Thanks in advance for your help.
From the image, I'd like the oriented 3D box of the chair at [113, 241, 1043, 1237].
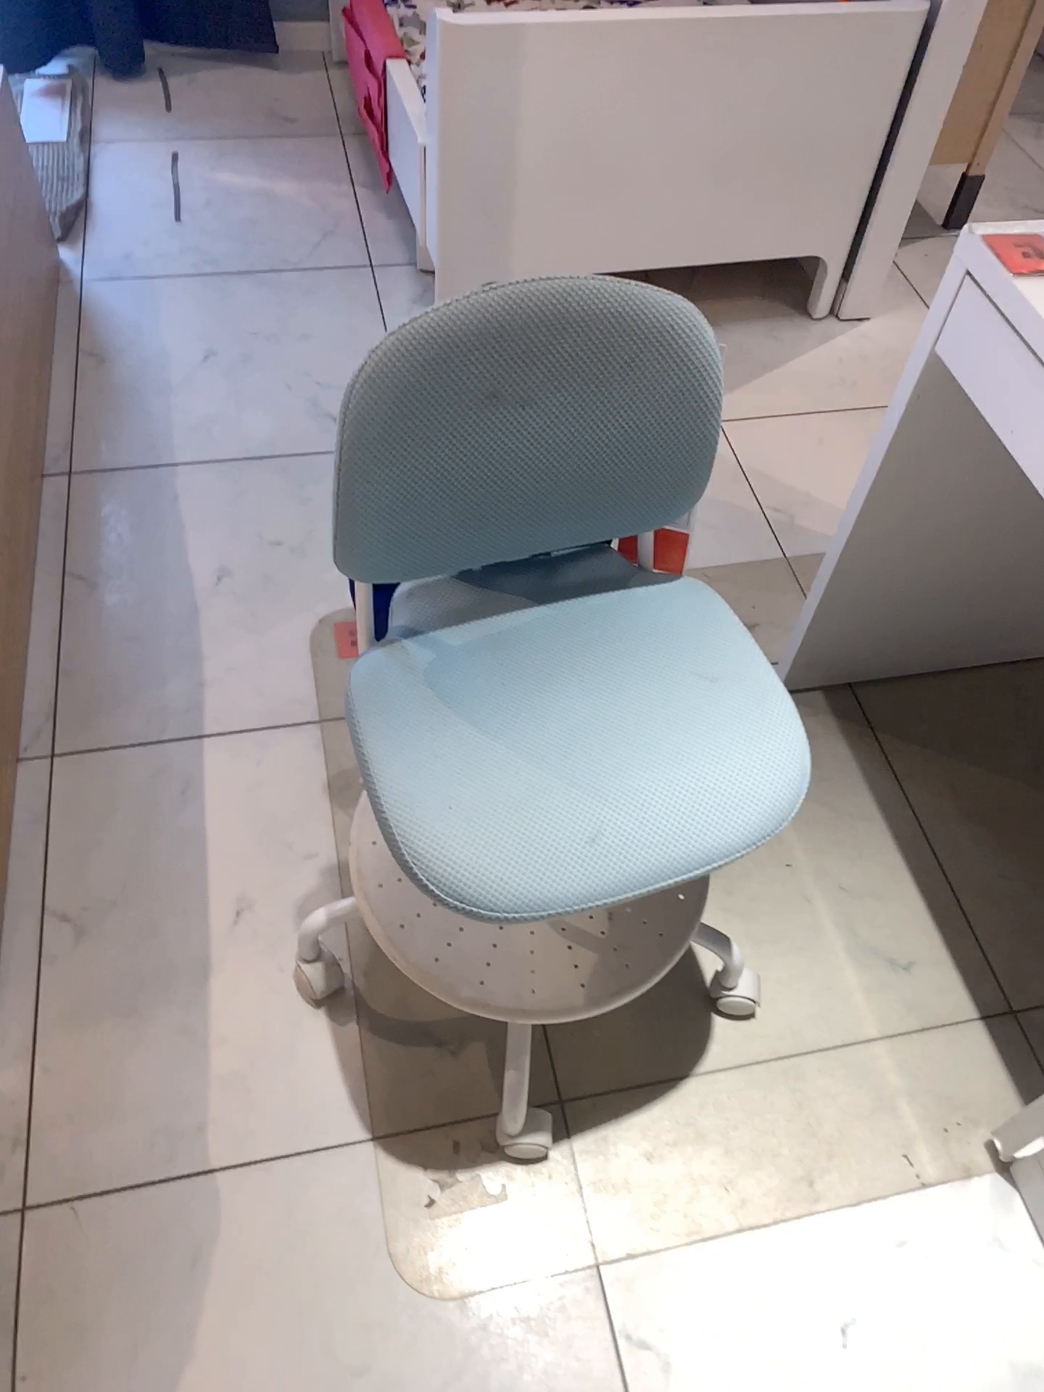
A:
[{"bbox_3d":[0.008,0.061,1.114,0.600,0.718,0.621,-14,55,-15],"label":"chair"}]
